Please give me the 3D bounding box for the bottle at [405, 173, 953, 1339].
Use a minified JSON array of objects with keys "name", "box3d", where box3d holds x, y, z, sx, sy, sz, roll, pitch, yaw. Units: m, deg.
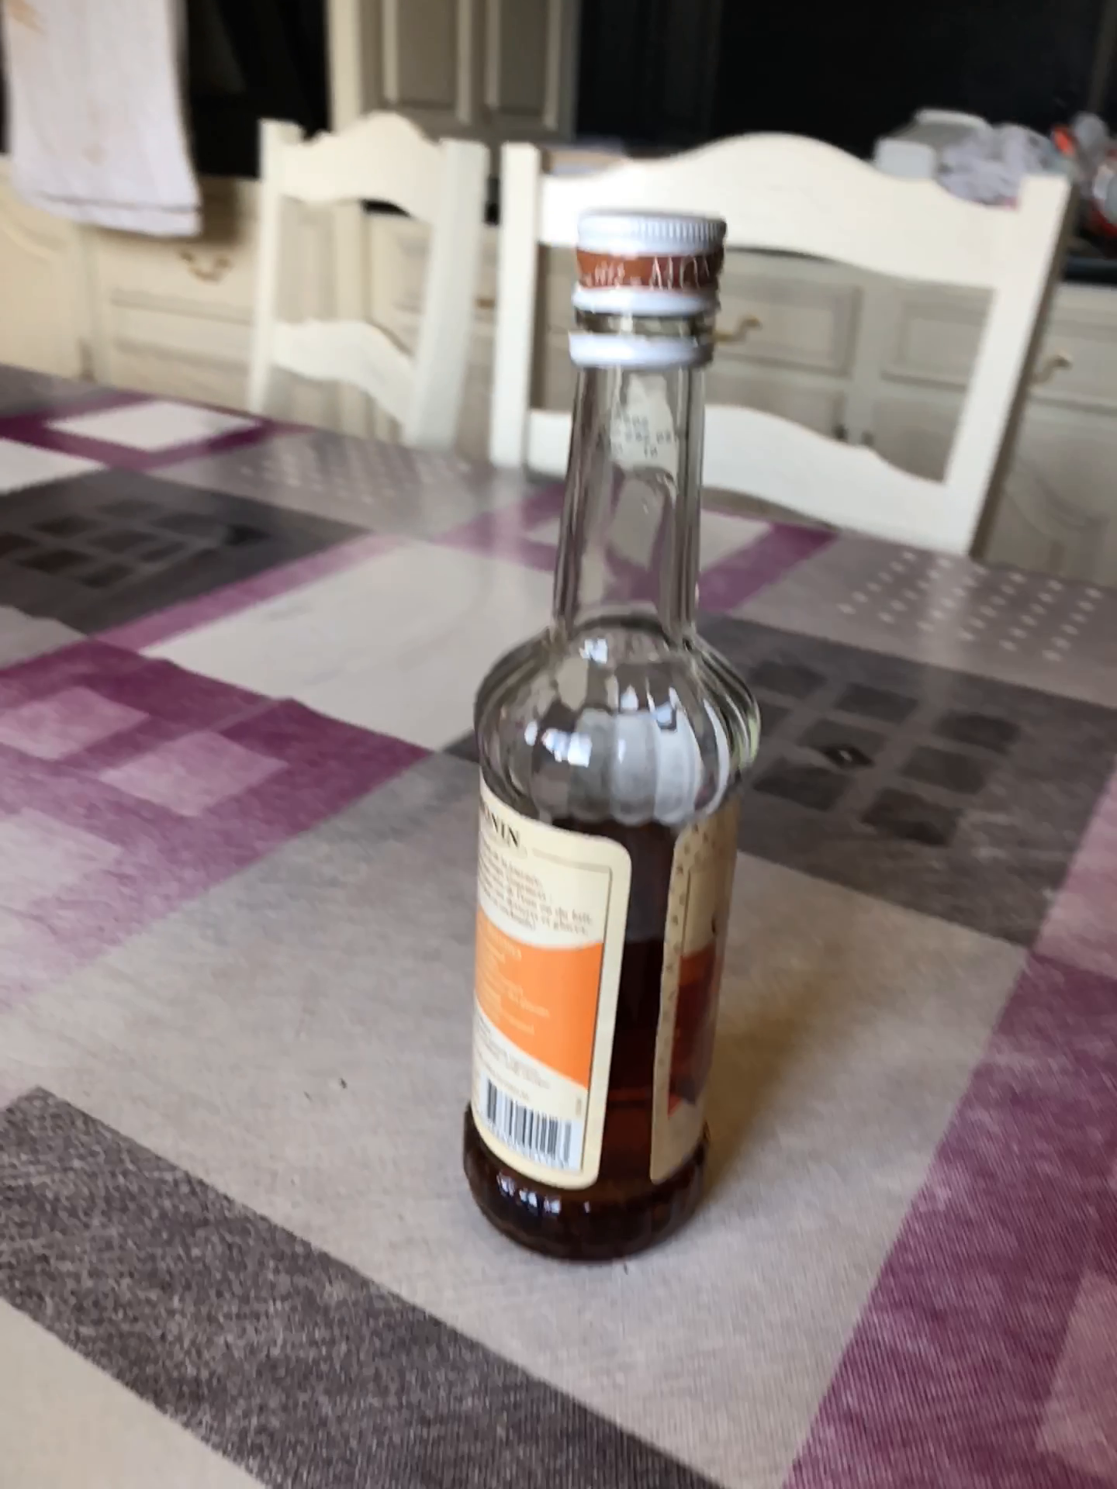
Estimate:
[{"name":"bottle","box3d":[0.015,0.007,0.275,0.070,0.239,0.070,2,26,-1]}]
